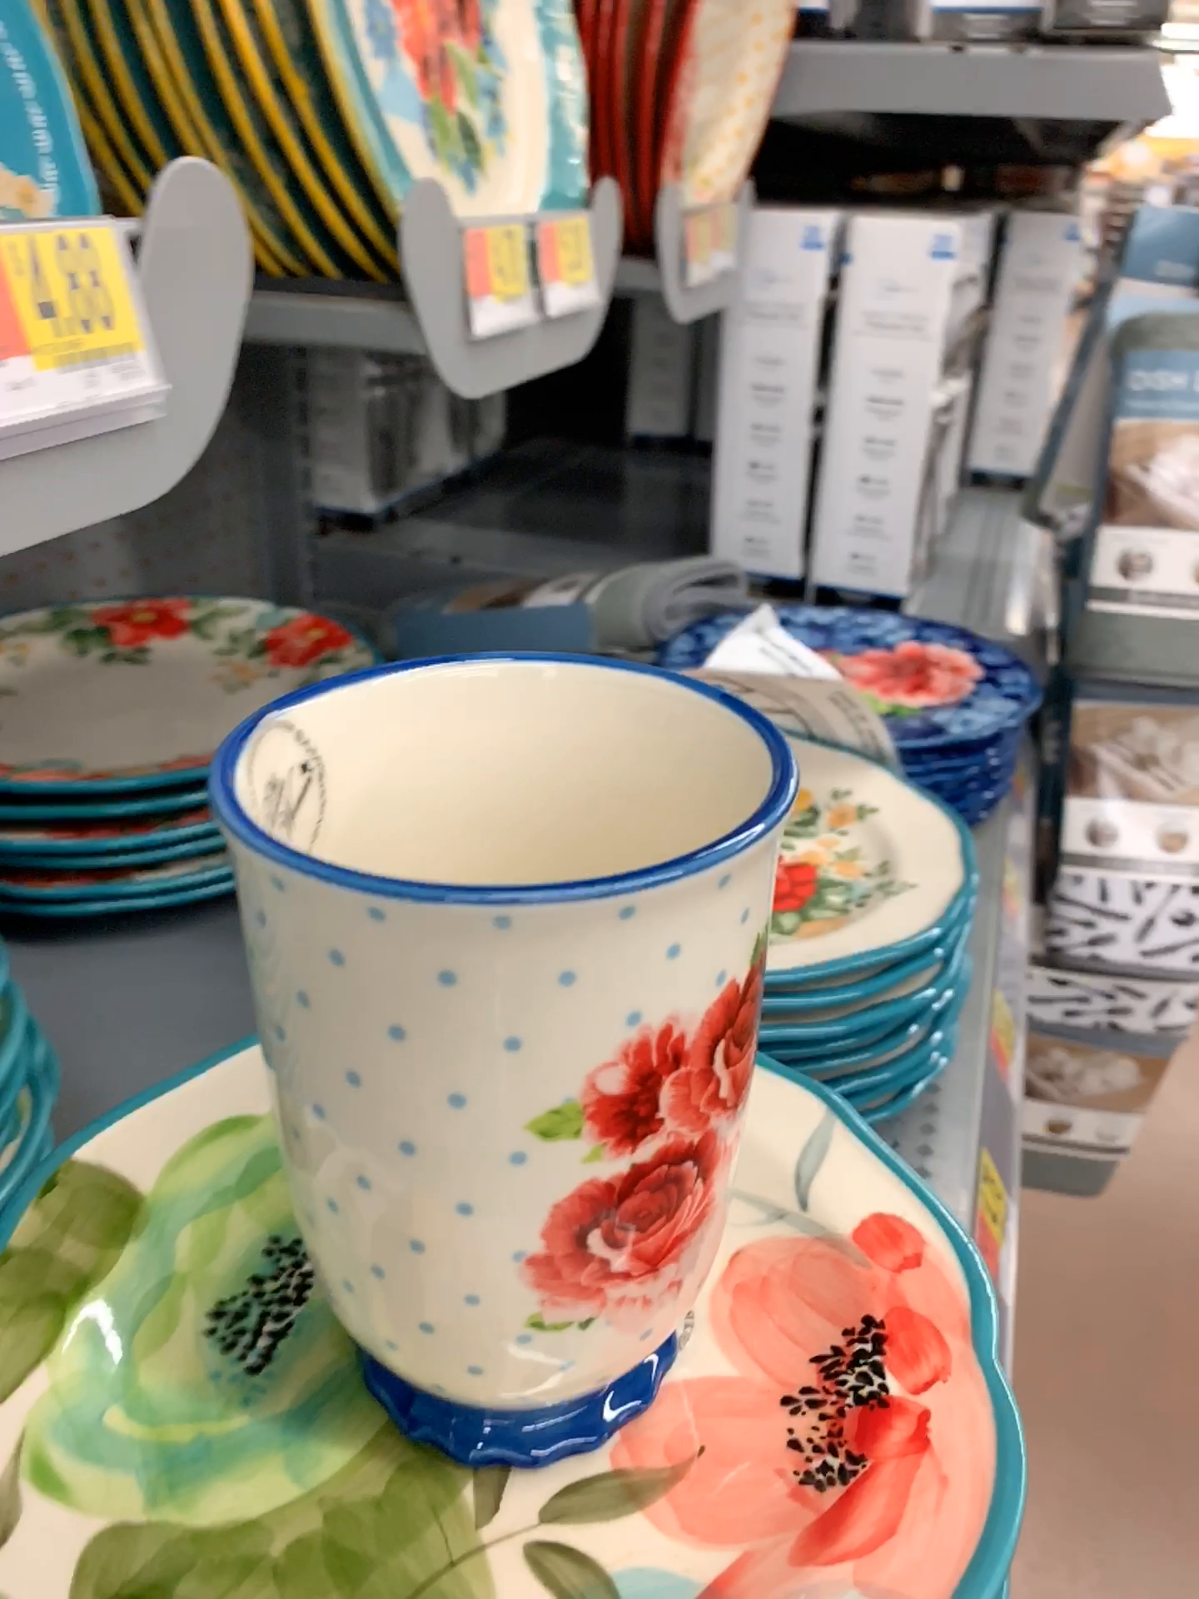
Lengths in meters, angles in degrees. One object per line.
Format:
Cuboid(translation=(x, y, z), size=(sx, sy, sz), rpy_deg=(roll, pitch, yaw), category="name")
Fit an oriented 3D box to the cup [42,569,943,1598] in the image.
Cuboid(translation=(-0.009, 0.043, 0.234), size=(0.090, 0.129, 0.130), rpy_deg=(17, 30, 26), category="cup")
